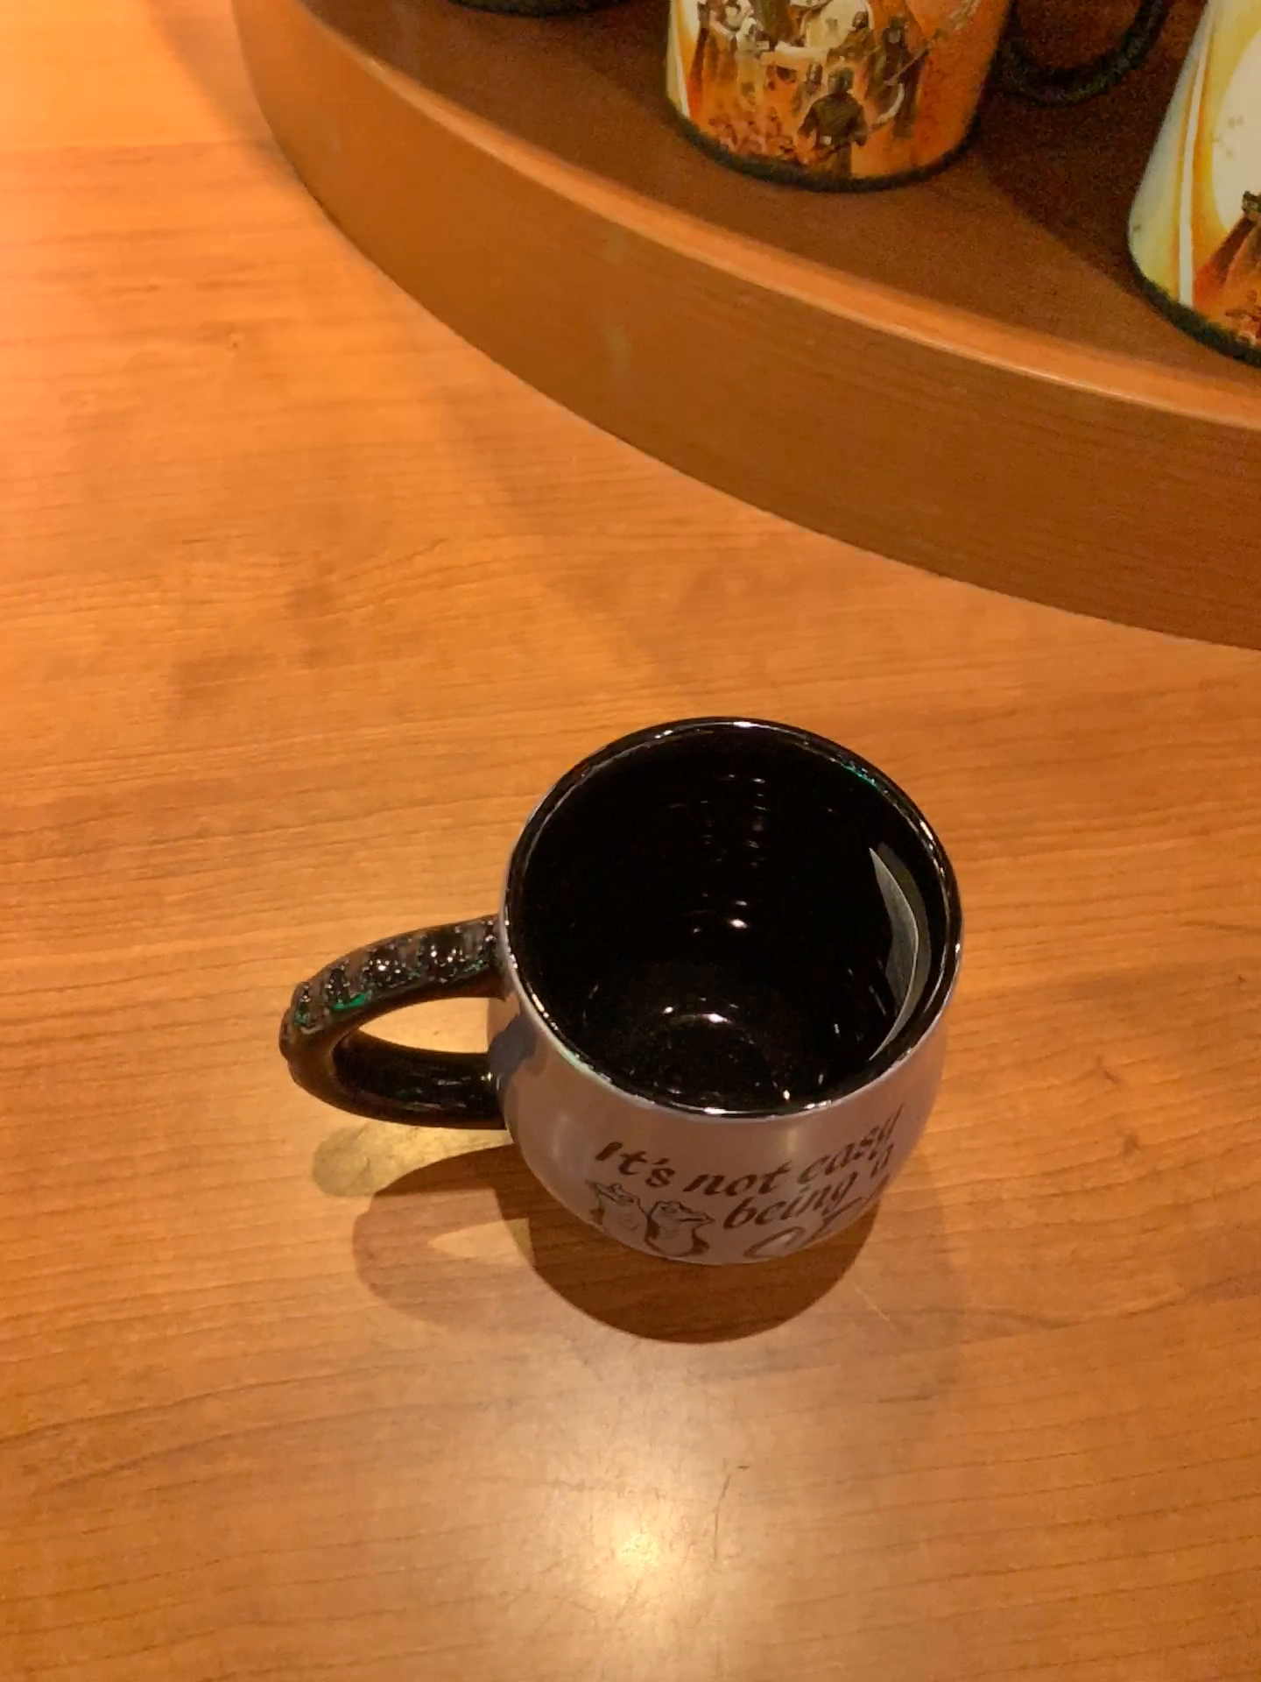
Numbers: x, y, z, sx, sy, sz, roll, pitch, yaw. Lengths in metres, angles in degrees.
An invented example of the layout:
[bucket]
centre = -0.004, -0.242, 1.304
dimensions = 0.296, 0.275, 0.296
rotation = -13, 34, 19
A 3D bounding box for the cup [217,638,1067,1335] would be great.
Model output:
[cup]
centre = -0.004, 0.030, 0.250
dimensions = 0.125, 0.089, 0.087
rotation = -7, 58, -6
